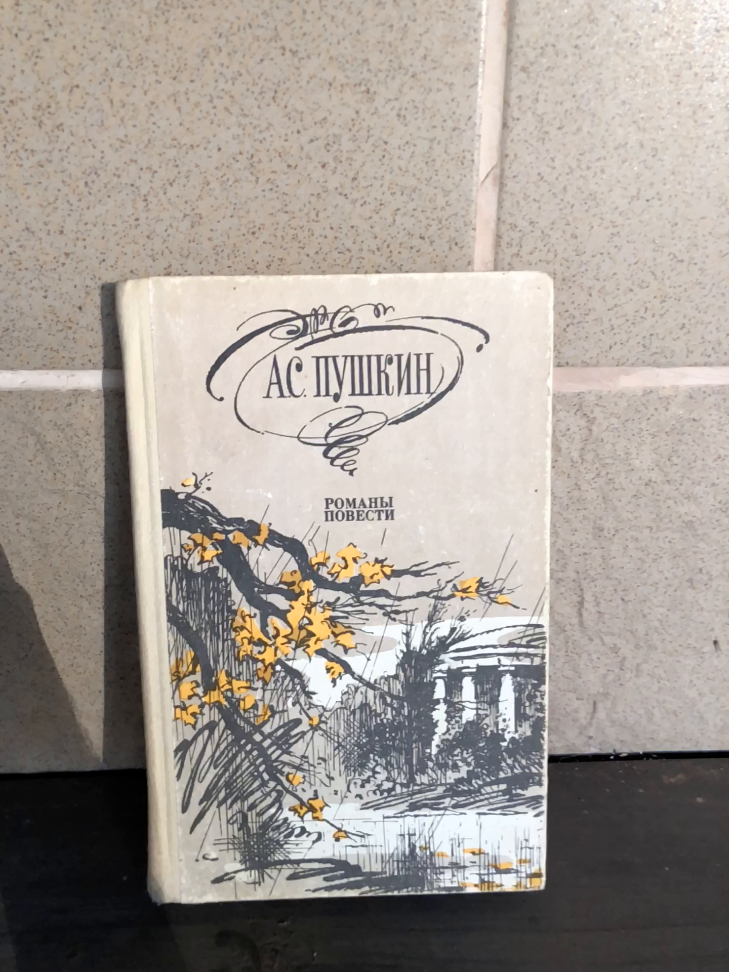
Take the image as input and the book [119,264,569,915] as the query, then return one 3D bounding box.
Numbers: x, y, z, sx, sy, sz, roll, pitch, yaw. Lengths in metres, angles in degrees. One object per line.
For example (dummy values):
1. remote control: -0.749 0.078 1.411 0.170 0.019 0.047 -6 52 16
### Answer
1. book: -0.005 0.033 0.259 0.125 0.197 0.040 -1 9 -2
